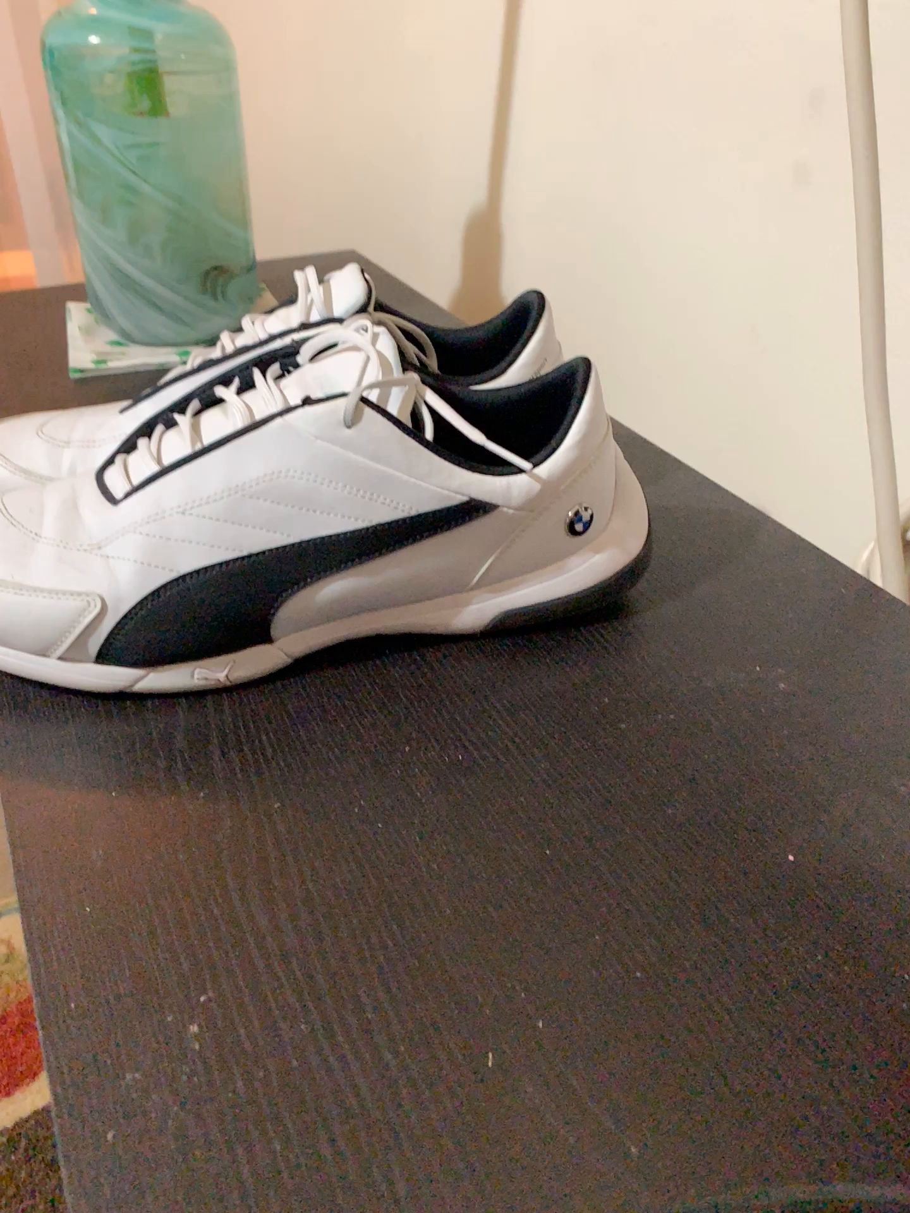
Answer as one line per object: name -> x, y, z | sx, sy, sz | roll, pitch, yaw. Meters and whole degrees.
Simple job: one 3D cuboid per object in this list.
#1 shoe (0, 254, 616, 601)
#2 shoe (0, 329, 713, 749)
shoe -> -0.080, -0.090, 0.437 | 0.280, 0.089, 0.121 | -7, 35, -5
shoe -> -0.064, -0.032, 0.360 | 0.290, 0.089, 0.101 | -7, 35, -5
